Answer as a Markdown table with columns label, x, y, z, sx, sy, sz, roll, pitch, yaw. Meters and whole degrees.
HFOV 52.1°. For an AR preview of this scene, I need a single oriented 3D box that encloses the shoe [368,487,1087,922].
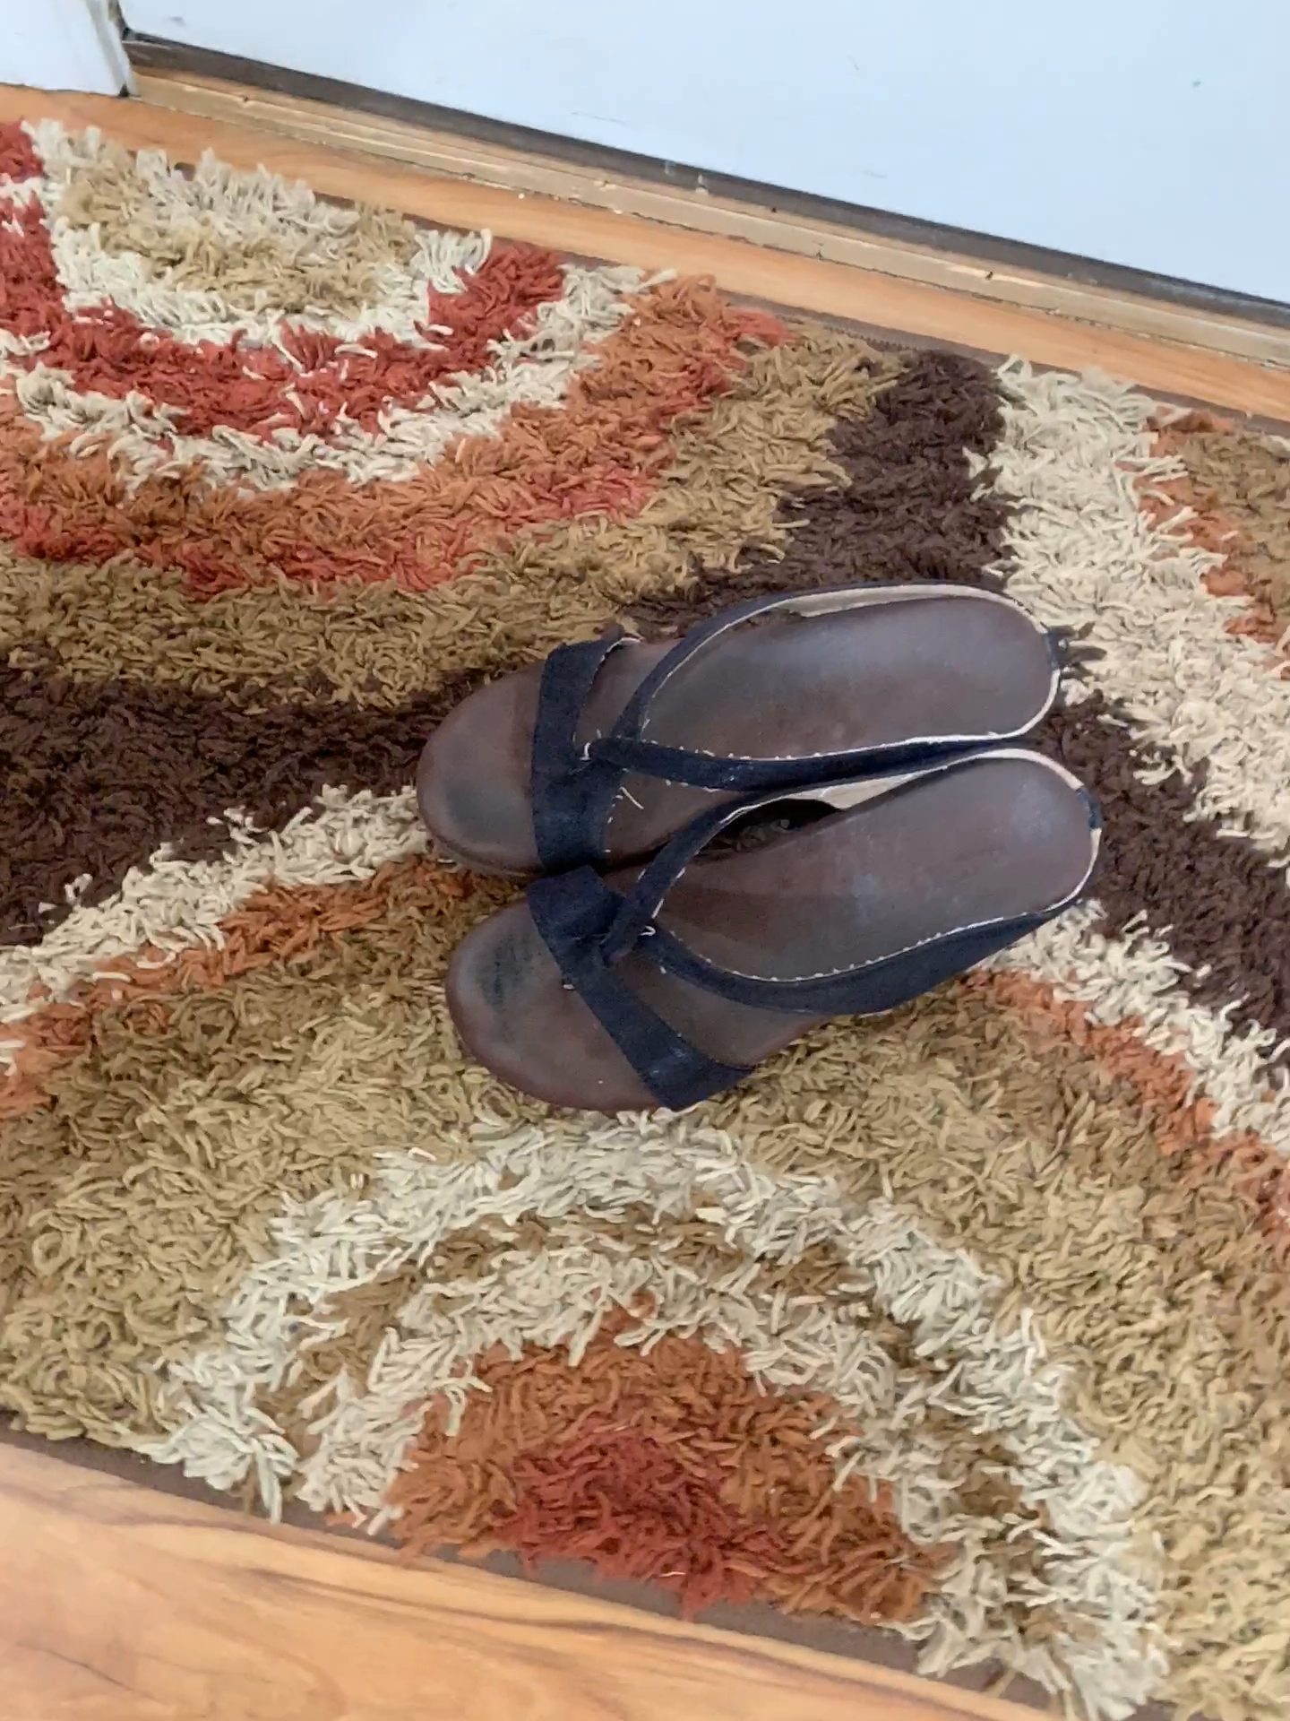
| label | x | y | z | sx | sy | sz | roll | pitch | yaw |
| --- | --- | --- | --- | --- | --- | --- | --- | --- | --- |
| shoe | 0.027 | -0.054 | 0.460 | 0.223 | 0.052 | 0.084 | -16 | 75 | -8 |

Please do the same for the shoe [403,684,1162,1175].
| label | x | y | z | sx | sy | sz | roll | pitch | yaw |
| --- | --- | --- | --- | --- | --- | --- | --- | --- | --- |
| shoe | 0.043 | 0.024 | 0.444 | 0.222 | 0.062 | 0.090 | -17 | 75 | -8 |
